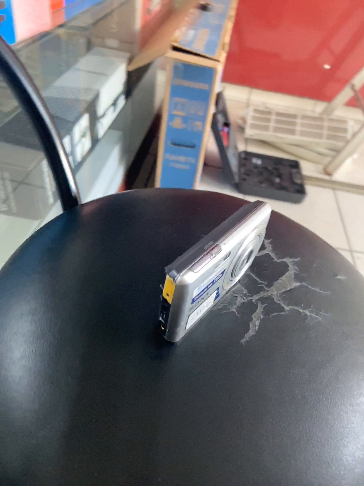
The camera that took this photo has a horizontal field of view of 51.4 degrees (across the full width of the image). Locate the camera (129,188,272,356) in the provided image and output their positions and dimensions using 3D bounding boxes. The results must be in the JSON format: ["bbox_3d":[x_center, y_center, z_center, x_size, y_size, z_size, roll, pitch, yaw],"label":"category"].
[{"bbox_3d":[0.013,0.015,0.244,0.030,0.060,0.101,32,46,23],"label":"camera"}]
